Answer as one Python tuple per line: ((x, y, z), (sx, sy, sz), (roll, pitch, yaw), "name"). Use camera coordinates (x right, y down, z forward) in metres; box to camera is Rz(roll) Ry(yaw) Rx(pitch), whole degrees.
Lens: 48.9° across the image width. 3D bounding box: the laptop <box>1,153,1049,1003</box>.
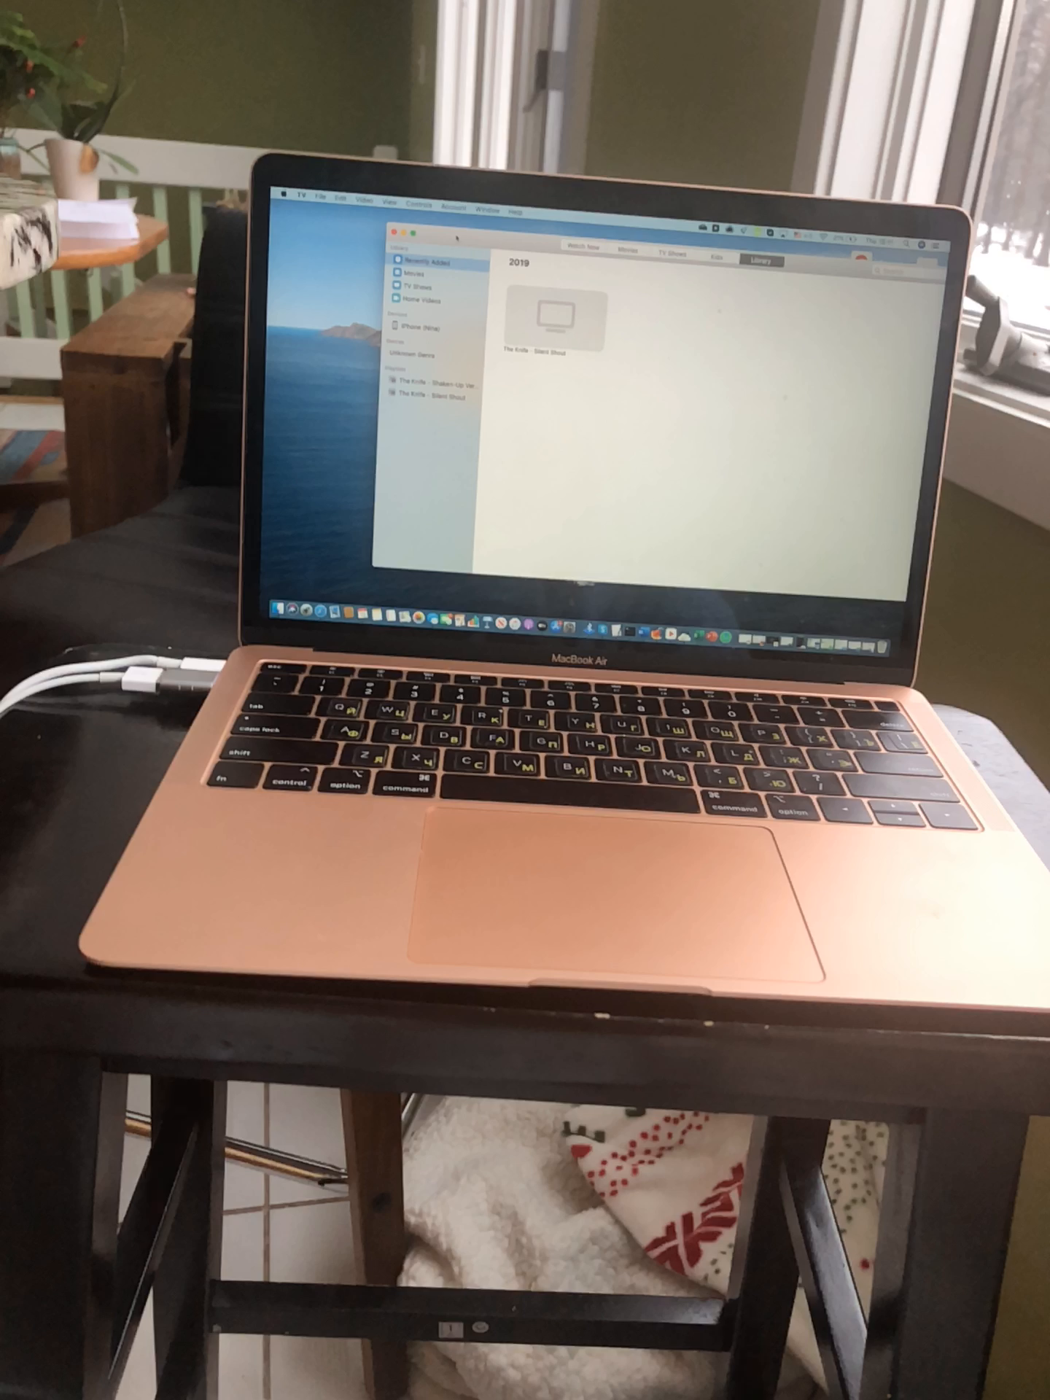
((0.033, -0.069, 0.404), (0.297, 0.196, 0.265), (3, 26, -2), "laptop")
